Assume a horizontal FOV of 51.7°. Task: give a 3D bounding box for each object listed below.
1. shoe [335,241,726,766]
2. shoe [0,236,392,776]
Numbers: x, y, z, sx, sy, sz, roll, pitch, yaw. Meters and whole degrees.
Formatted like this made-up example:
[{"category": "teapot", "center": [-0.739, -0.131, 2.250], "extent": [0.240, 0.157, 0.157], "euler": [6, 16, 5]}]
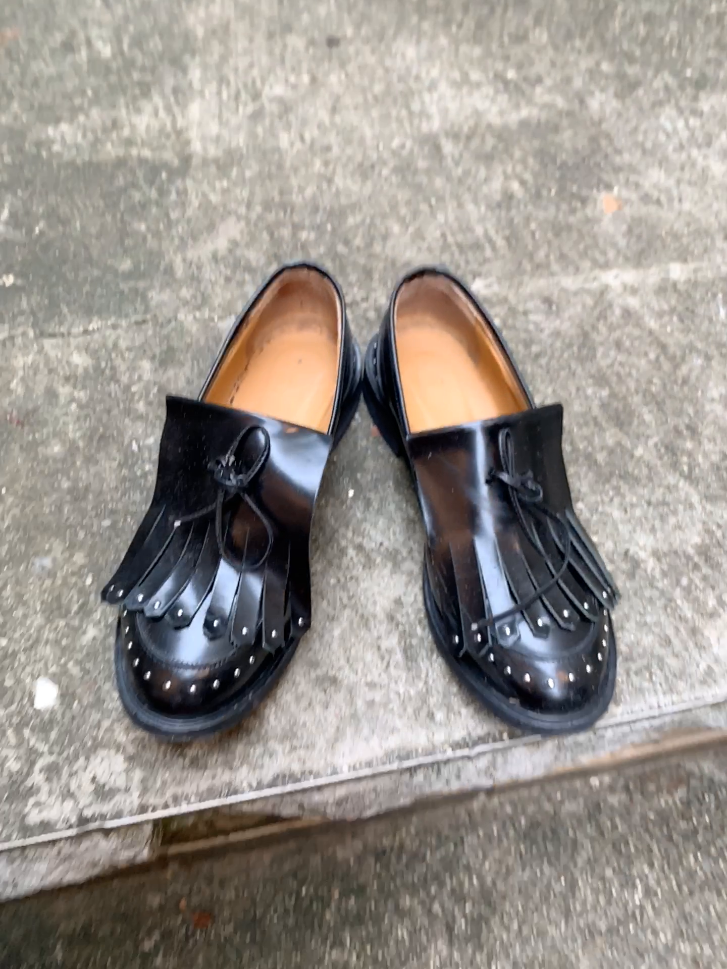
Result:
[{"category": "shoe", "center": [0.060, -0.006, 0.375], "extent": [0.094, 0.080, 0.249], "euler": [-9, 56, -11]}, {"category": "shoe", "center": [-0.058, -0.005, 0.364], "extent": [0.093, 0.080, 0.247], "euler": [11, 55, 6]}]
